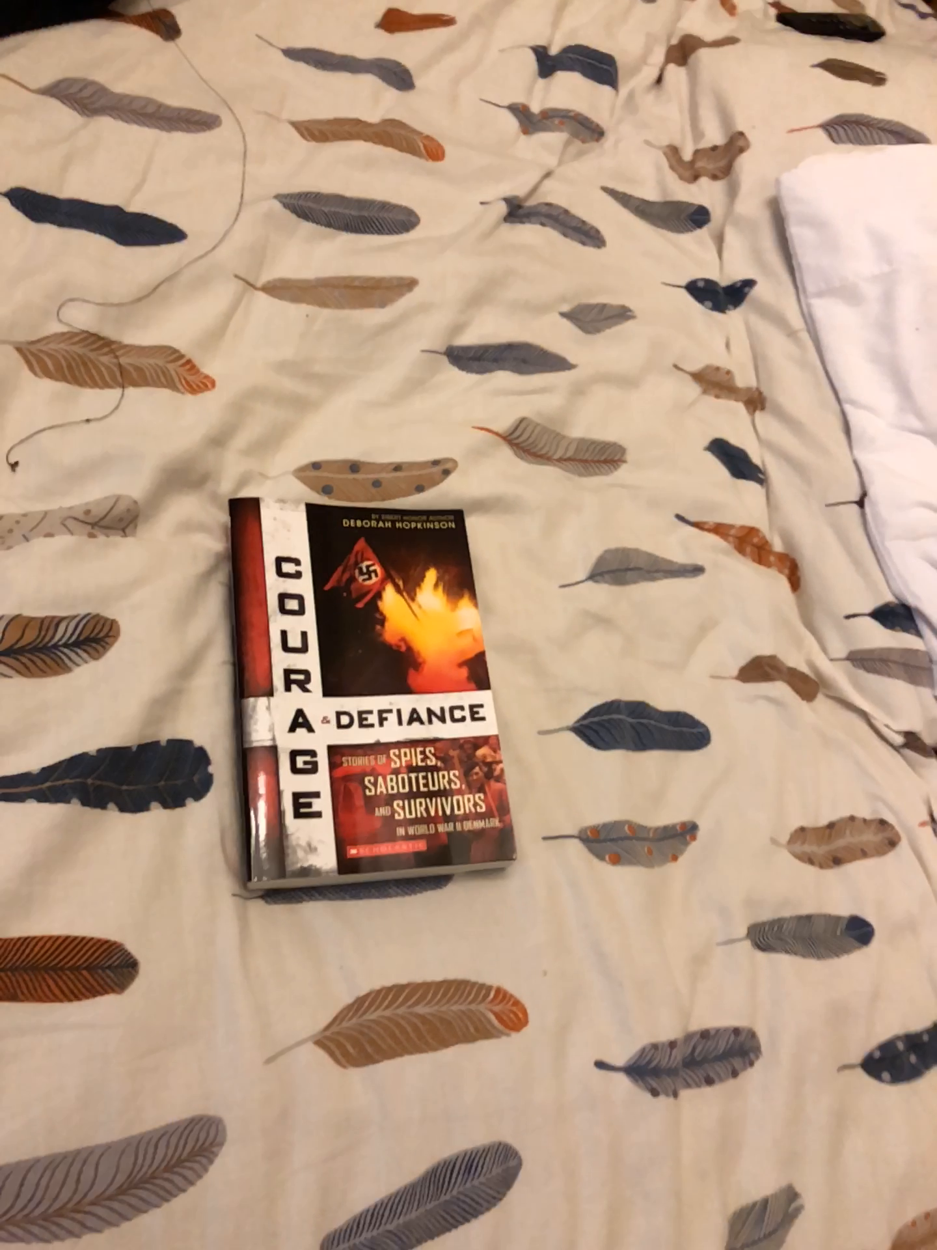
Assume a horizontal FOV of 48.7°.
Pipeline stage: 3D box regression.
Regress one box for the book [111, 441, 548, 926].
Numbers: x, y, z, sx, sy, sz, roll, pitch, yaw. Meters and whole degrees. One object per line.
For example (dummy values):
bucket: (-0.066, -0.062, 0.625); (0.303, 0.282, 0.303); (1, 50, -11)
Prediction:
book: (-0.071, 0.021, 0.527); (0.200, 0.020, 0.230); (1, 68, -28)
